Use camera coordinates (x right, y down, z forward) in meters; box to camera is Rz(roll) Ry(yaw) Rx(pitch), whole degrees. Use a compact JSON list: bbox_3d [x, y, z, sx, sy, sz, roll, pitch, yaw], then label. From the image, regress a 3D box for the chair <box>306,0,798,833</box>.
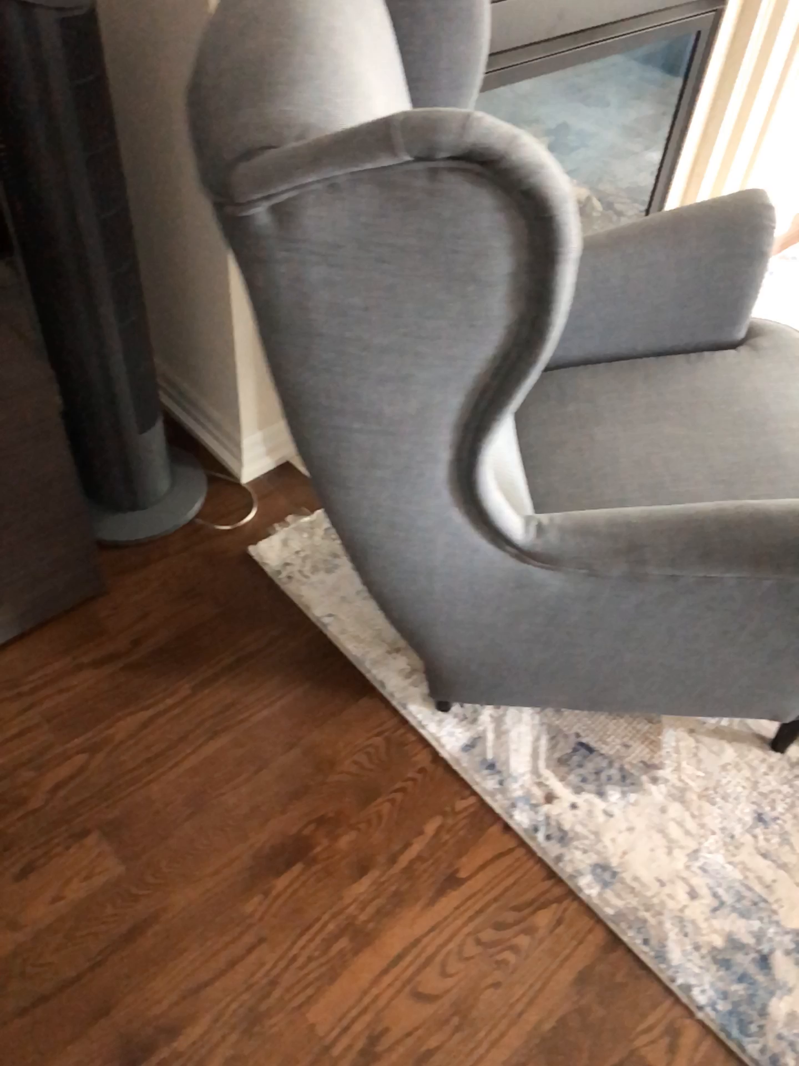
[{"bbox_3d":[0.311,-0.205,1.189,0.850,0.966,0.803,0,46,-5],"label":"chair"}]
